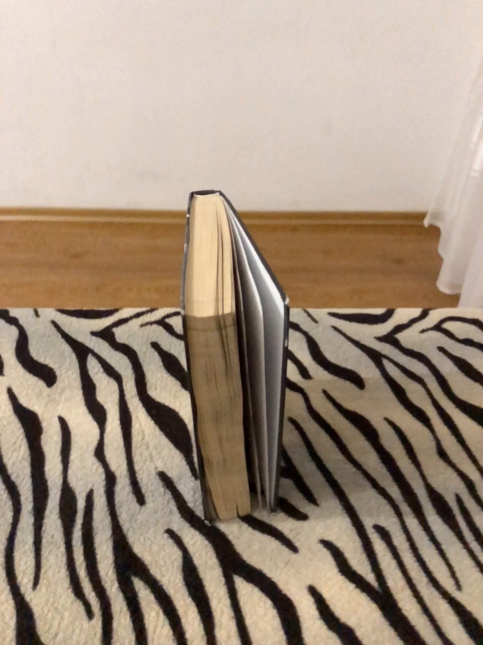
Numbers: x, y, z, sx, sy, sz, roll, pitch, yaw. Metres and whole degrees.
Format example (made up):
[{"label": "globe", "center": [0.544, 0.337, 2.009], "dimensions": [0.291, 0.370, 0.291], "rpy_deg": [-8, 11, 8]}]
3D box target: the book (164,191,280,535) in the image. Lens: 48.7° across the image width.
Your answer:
[{"label": "book", "center": [-0.015, 0.030, 0.376], "dimensions": [0.057, 0.191, 0.145], "rpy_deg": [-4, 40, -3]}]
